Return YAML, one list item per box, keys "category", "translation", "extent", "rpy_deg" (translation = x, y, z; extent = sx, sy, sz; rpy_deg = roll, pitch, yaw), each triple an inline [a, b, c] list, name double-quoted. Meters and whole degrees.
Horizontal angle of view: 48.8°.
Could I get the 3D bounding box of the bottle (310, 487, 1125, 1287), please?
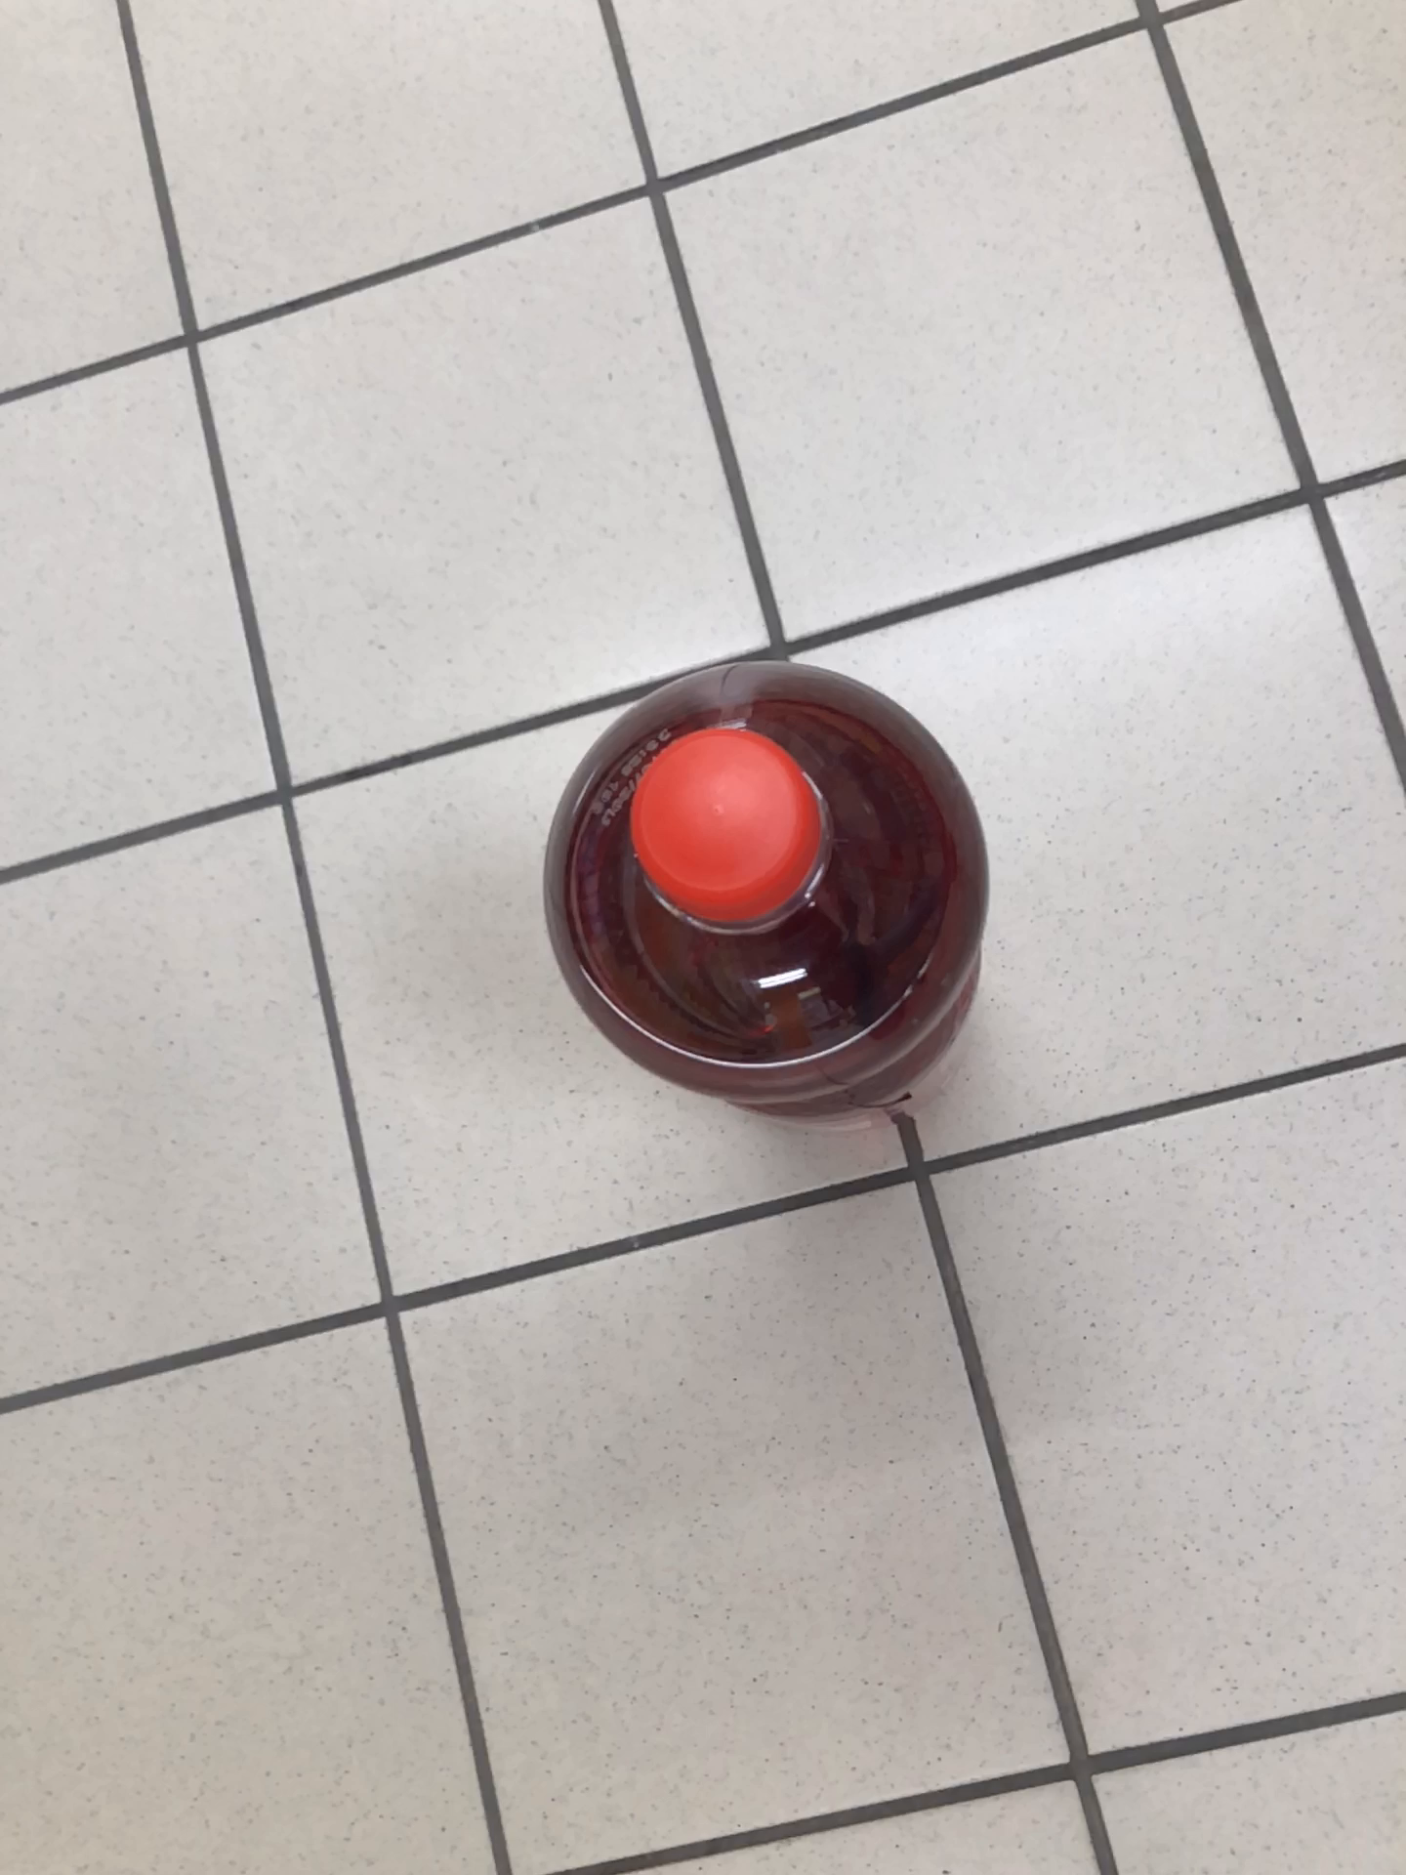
- category: "bottle"
  translation: [0.024, 0.012, 0.401]
  extent: [0.100, 0.310, 0.100]
  rpy_deg: [-1, 81, 9]
